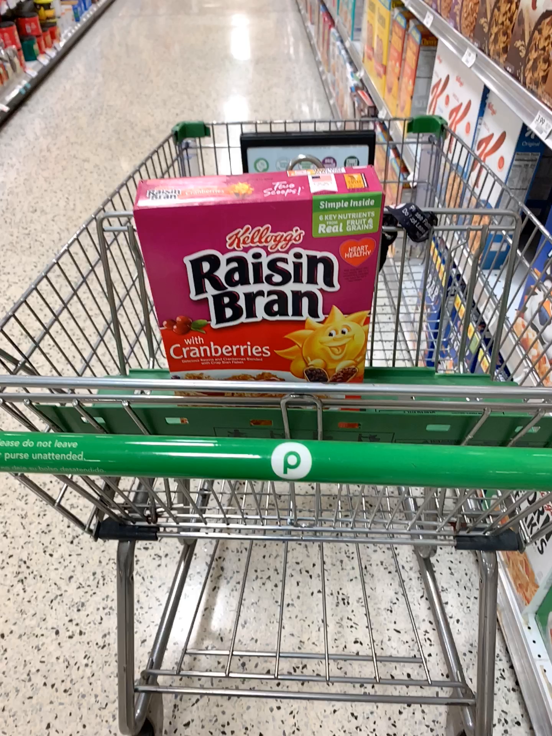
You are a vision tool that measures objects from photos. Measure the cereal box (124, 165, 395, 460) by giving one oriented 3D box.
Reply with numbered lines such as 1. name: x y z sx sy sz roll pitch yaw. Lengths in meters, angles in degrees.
1. cereal box: -0.010 -0.031 0.573 0.210 0.326 0.051 -4 45 -2
